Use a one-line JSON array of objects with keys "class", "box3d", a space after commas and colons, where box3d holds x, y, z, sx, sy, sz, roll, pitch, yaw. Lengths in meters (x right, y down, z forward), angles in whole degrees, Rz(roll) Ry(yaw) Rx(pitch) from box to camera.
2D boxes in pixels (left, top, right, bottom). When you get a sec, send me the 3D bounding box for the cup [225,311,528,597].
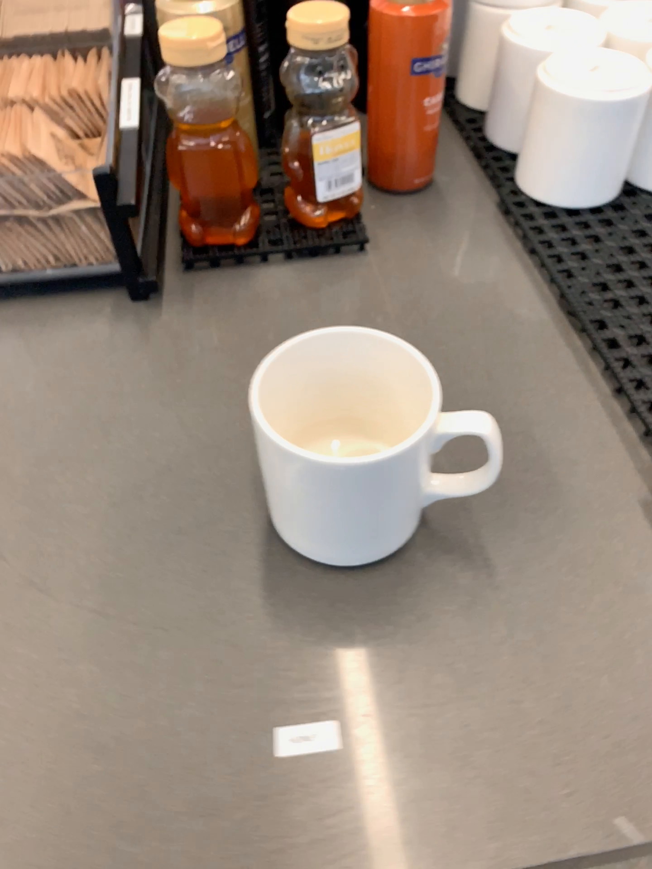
[{"class": "cup", "box3d": [0.026, 0.009, 0.331, 0.120, 0.090, 0.090, 6, 49, 7]}]
